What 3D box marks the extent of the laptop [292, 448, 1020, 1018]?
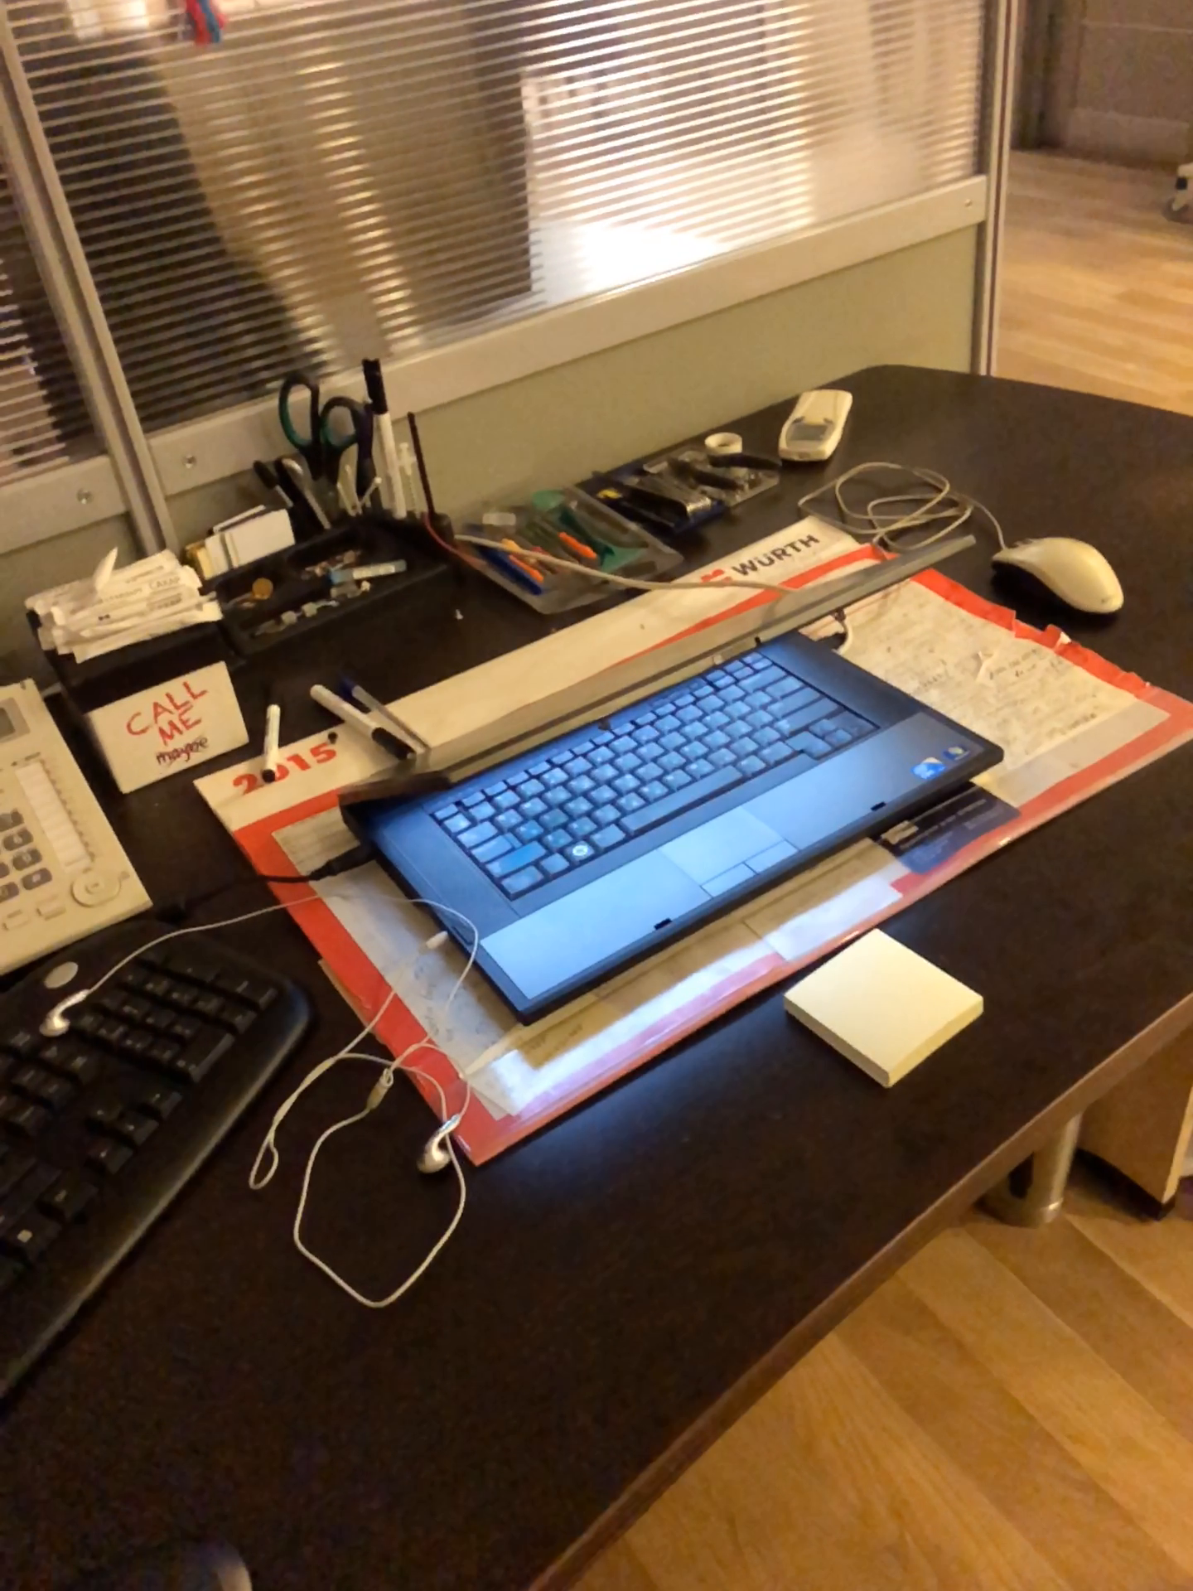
[{"bbox_3d":[0.039,-0.064,0.810,0.359,0.141,0.239,-26,40,-24],"label":"laptop"}]
